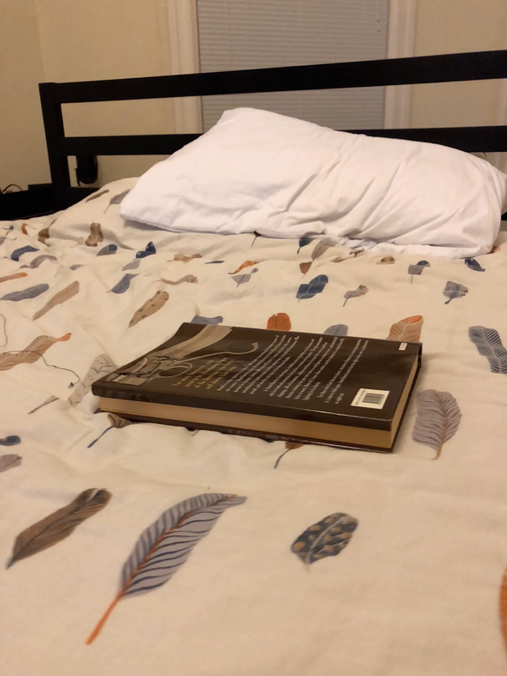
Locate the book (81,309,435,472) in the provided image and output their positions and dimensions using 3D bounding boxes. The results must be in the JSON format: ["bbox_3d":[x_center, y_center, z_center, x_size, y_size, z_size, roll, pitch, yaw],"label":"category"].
[{"bbox_3d":[0.015,0.026,0.461,0.240,0.030,0.181,7,21,21],"label":"book"}]
